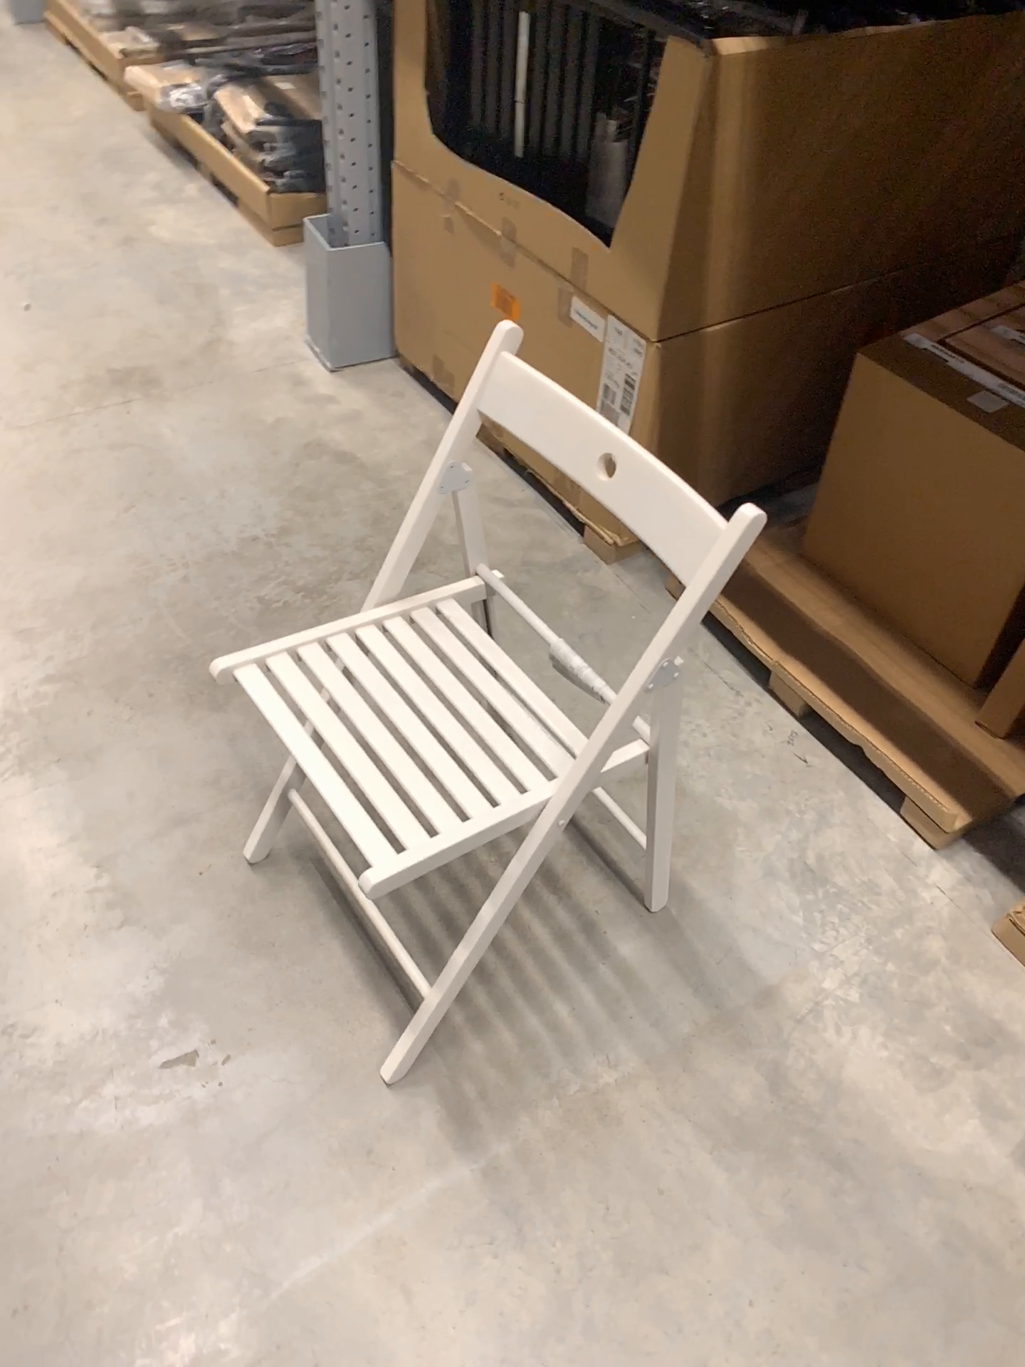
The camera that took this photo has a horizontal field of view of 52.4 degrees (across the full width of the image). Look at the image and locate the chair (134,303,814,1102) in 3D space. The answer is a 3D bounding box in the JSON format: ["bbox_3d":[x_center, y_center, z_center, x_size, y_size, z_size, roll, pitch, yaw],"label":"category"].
[{"bbox_3d":[-0.063,0.035,1.215,0.470,0.707,0.431,-24,53,-26],"label":"chair"}]
